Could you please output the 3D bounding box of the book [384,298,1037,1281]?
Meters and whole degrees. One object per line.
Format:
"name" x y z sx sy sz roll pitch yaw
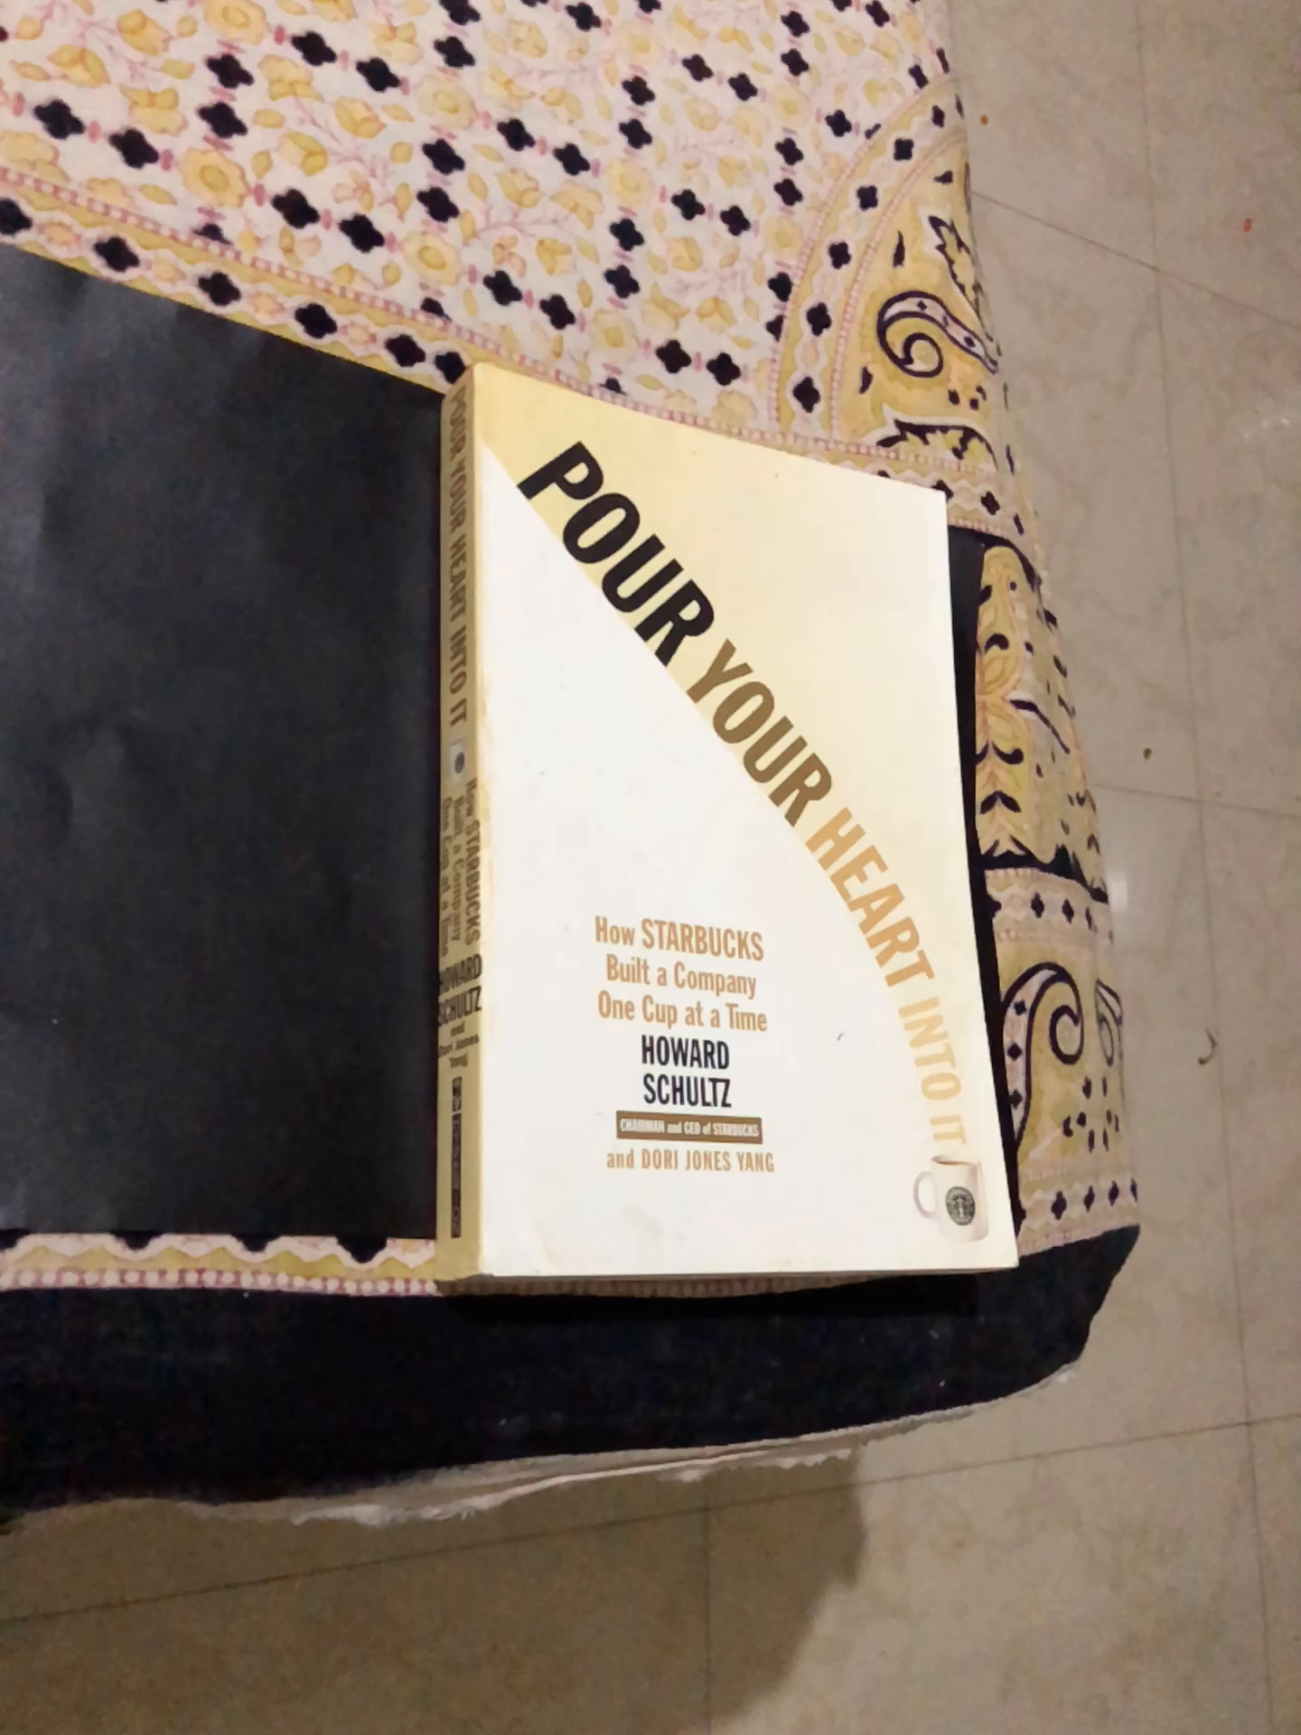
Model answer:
"book" 0.016 -0.014 0.392 0.161 0.050 0.240 8 70 -29
